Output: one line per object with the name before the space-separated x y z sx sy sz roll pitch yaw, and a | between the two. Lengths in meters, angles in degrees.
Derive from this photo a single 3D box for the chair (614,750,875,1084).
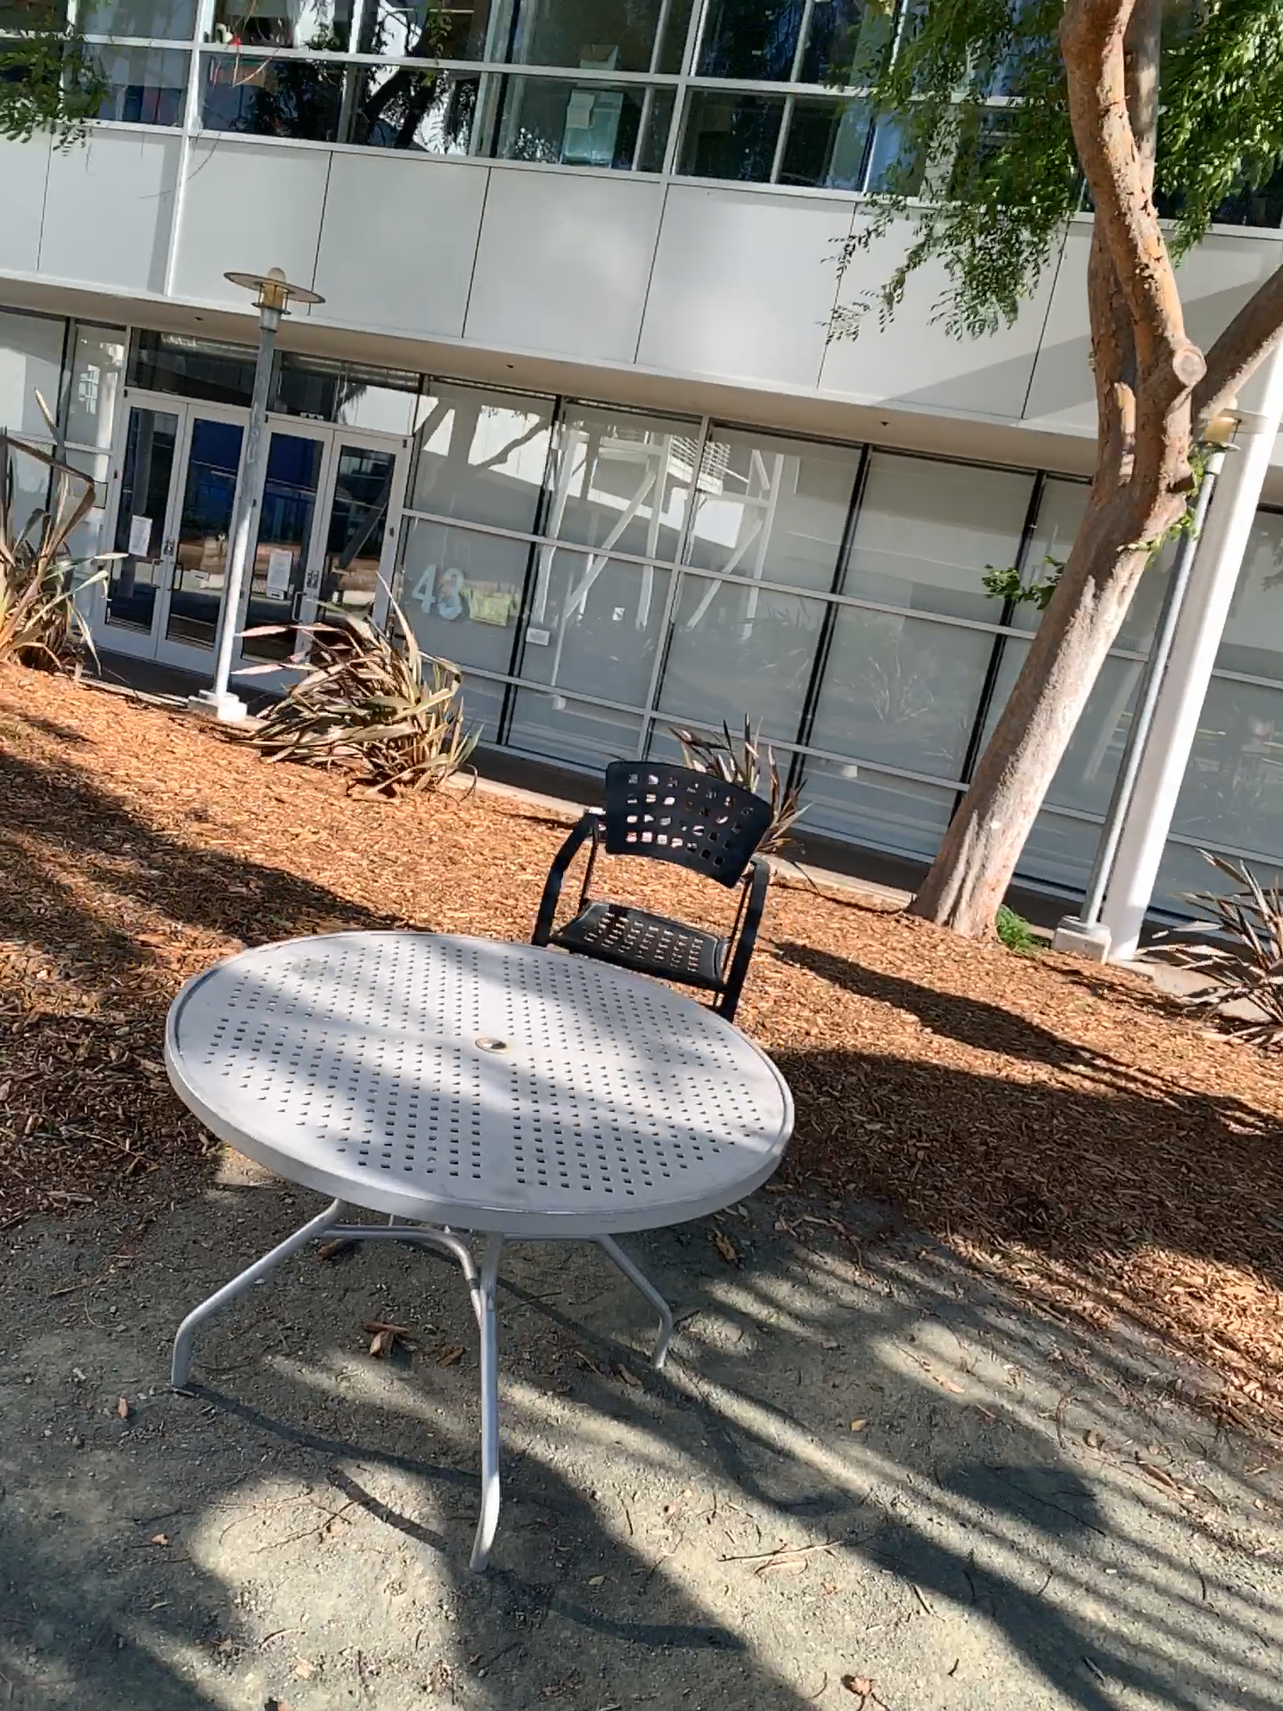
chair | 0.295 0.140 3.589 0.520 0.718 0.501 13 11 8
